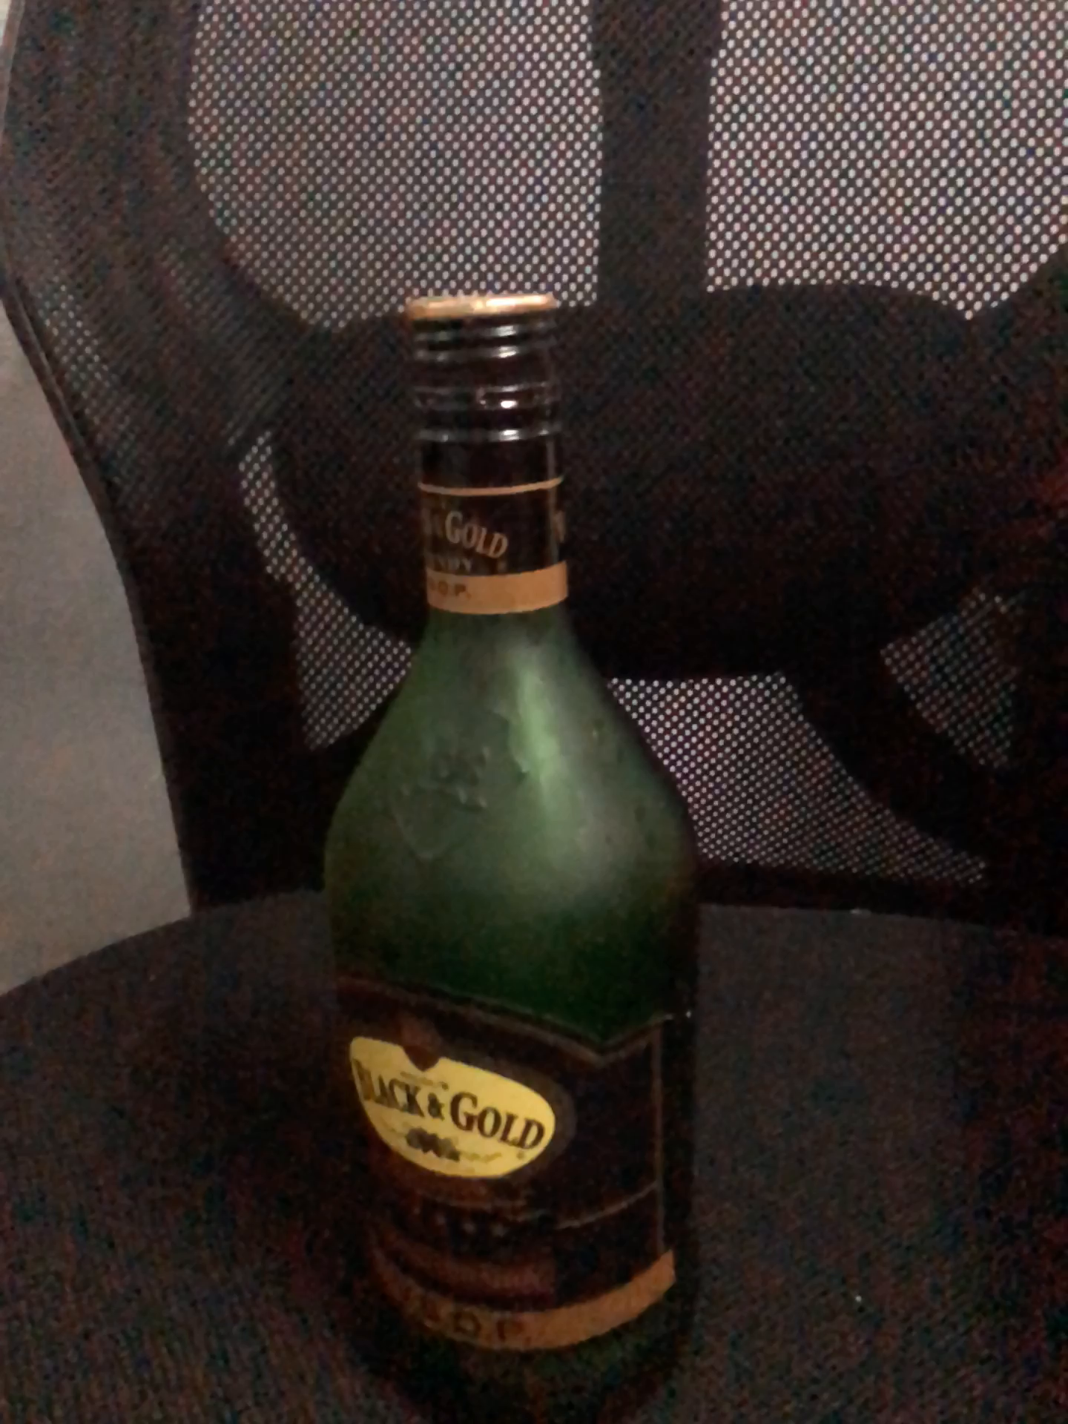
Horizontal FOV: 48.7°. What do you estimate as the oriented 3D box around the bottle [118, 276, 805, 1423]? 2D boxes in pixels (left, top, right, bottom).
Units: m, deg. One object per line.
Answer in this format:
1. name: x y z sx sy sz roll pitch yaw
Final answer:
1. bottle: -0.010 0.041 0.283 0.110 0.269 0.080 10 24 26
